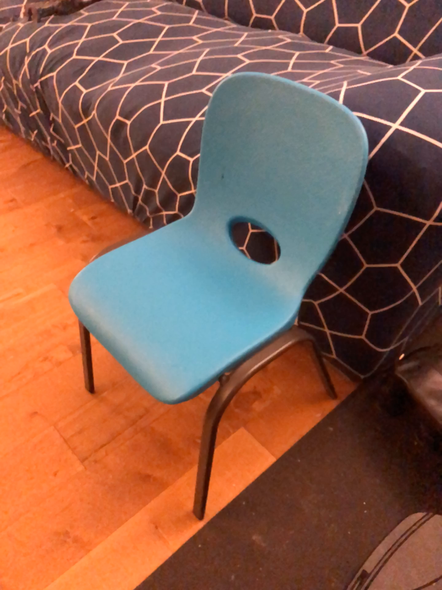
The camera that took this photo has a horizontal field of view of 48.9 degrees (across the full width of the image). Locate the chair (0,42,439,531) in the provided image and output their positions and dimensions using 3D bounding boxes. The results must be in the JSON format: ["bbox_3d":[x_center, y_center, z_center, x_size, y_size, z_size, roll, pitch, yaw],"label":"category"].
[{"bbox_3d":[-0.030,-0.029,0.785,0.432,0.527,0.401,35,53,30],"label":"chair"}]
